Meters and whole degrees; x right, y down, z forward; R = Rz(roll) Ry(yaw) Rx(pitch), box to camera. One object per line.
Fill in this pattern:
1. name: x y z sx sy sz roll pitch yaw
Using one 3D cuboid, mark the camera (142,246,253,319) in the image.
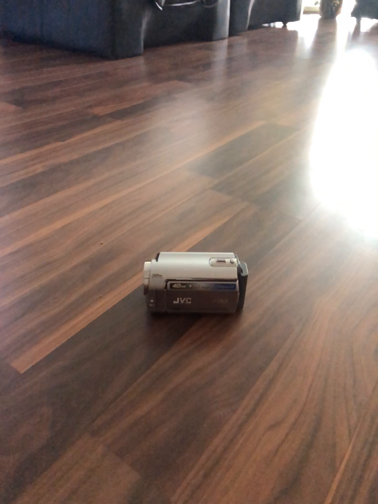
1. camera: 0.009 0.035 0.491 0.120 0.060 0.060 1 34 0
